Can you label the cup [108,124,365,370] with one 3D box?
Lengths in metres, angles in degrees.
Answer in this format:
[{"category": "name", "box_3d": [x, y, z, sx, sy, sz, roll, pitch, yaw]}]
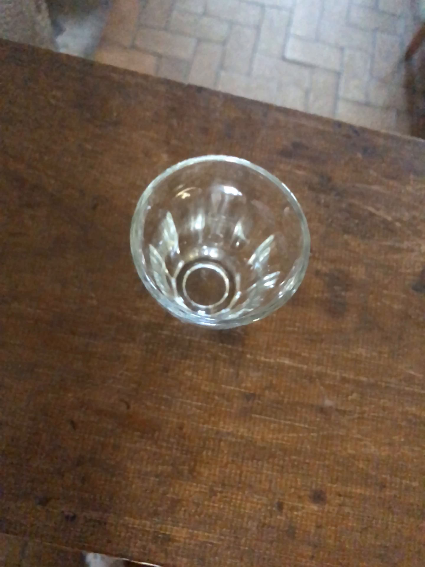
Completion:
[{"category": "cup", "box_3d": [0.006, -0.011, 0.225, 0.080, 0.080, 0.070, -21, 77, -11]}]
